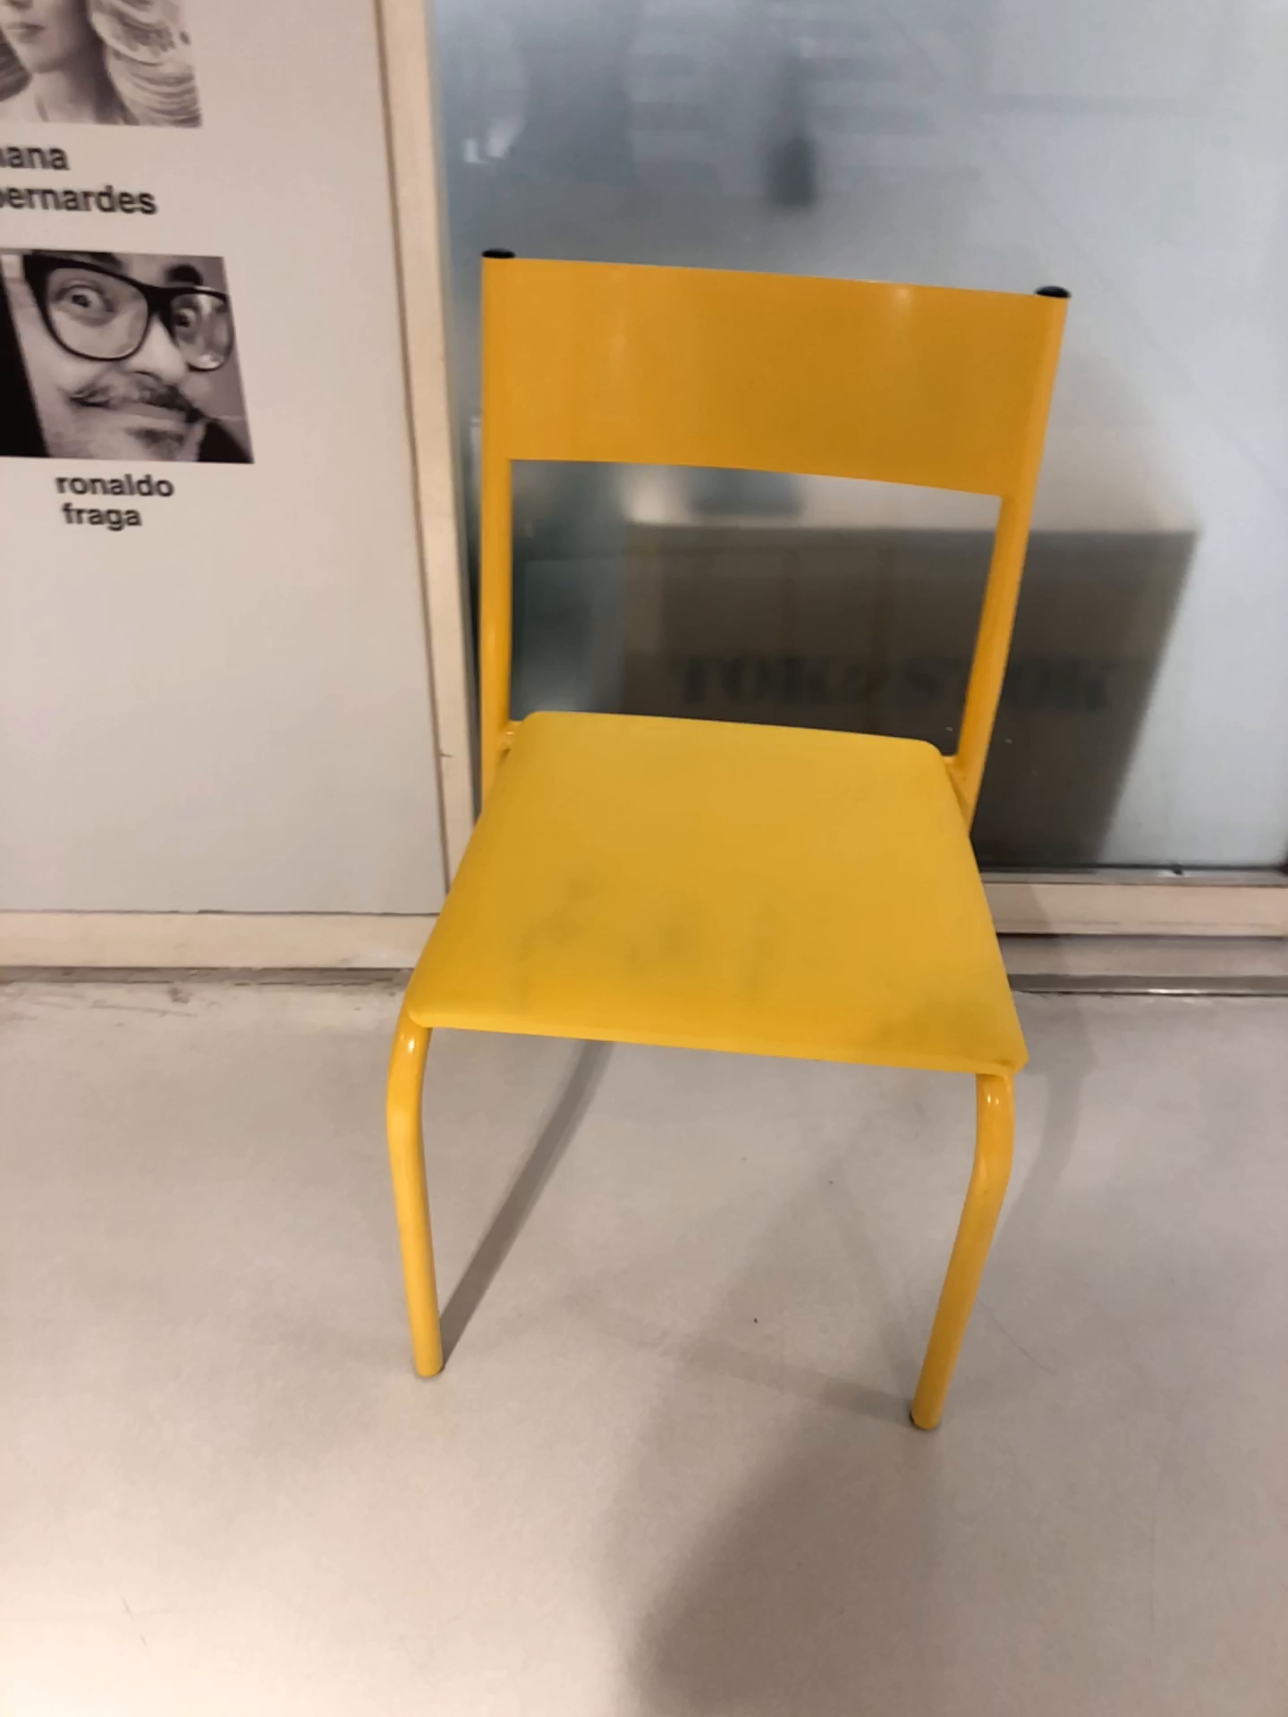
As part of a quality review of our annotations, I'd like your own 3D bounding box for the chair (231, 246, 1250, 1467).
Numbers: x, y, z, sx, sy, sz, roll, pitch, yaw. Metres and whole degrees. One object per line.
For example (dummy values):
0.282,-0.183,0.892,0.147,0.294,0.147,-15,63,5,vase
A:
0.055,0.014,1.131,0.490,0.784,0.524,5,40,3,chair
